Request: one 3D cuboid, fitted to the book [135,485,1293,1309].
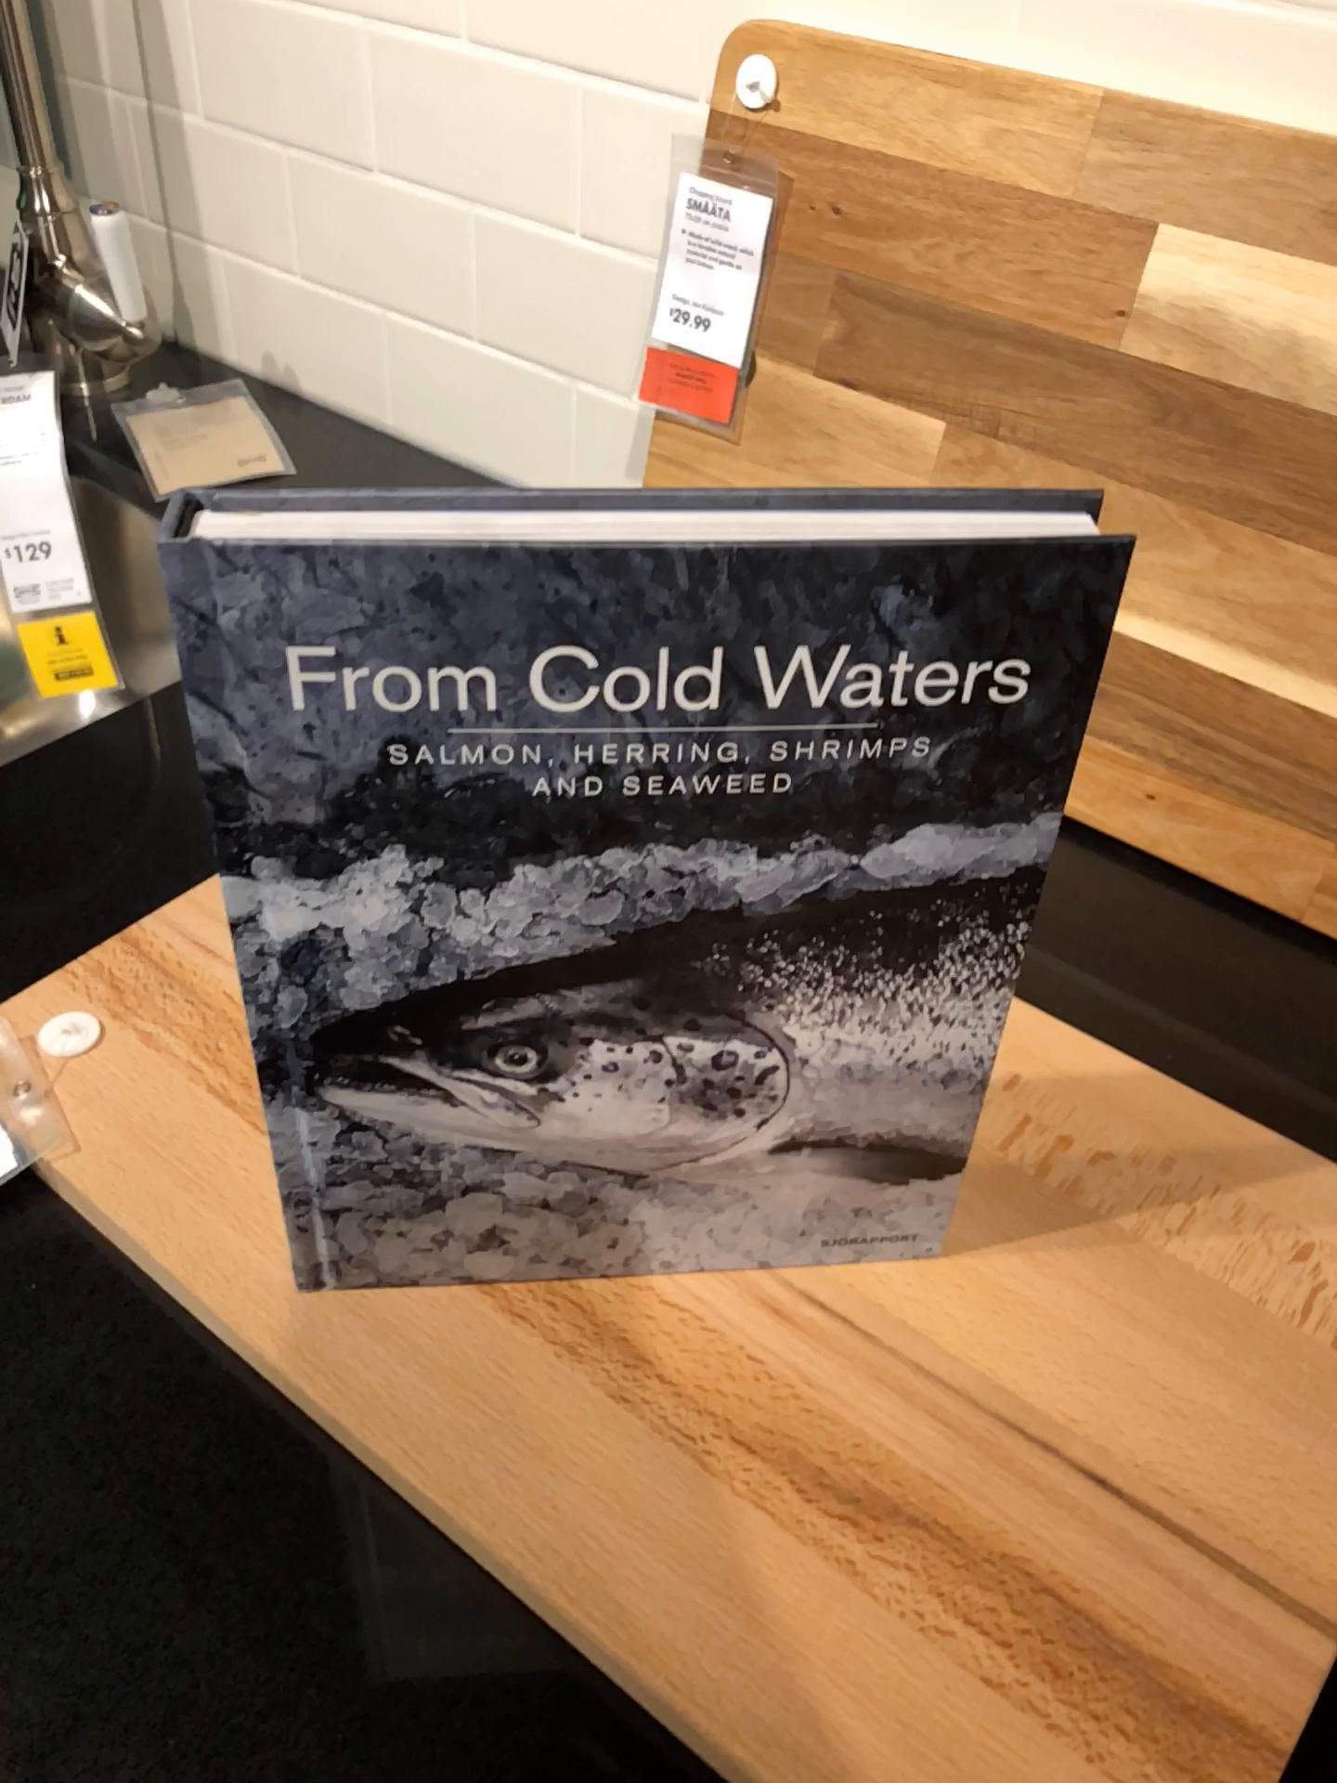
[{"bbox_3d":[0.006,0.015,0.351,0.213,0.219,0.029,-1,39,-6],"label":"book"}]
